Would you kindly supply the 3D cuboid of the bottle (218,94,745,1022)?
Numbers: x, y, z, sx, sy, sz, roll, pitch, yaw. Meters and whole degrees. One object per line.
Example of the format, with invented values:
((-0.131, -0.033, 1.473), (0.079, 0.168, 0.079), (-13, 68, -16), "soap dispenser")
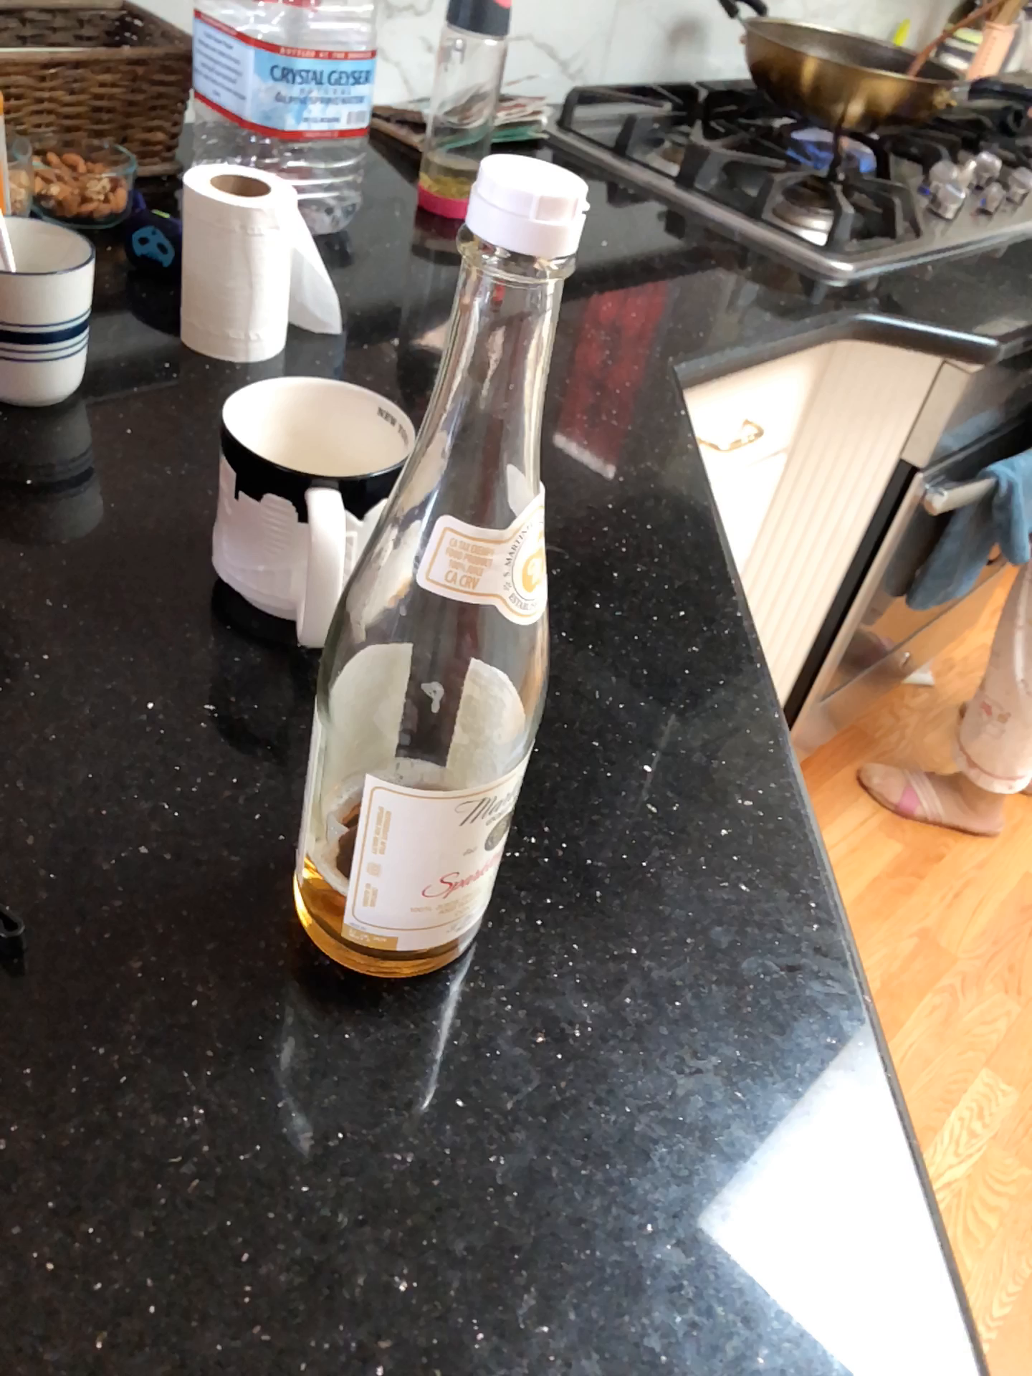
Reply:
((-0.027, -0.026, 0.387), (0.098, 0.288, 0.094), (9, 40, -7), "bottle")
